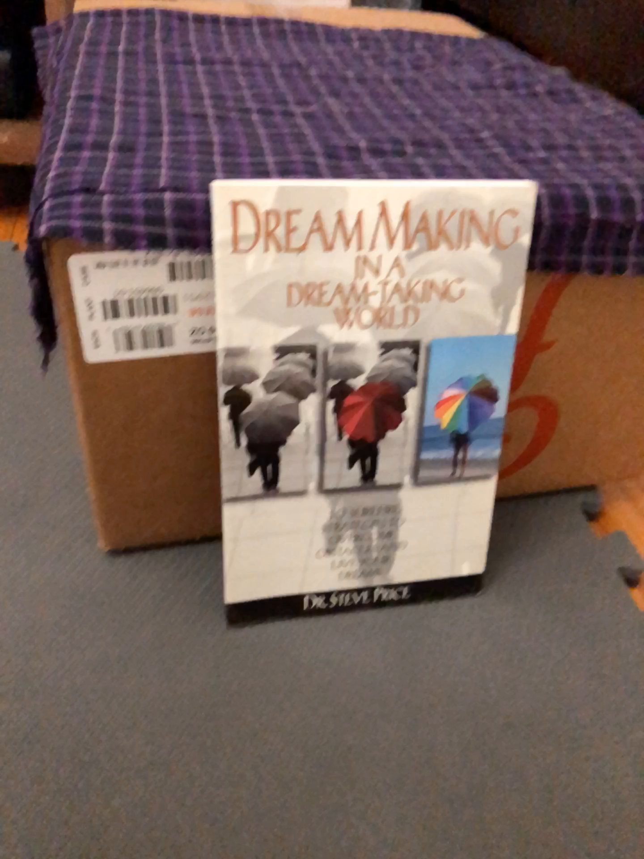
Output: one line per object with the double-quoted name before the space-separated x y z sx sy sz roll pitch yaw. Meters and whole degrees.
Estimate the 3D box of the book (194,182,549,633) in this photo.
"book" 0.021 -0.004 0.348 0.150 0.219 0.020 -4 25 -10
